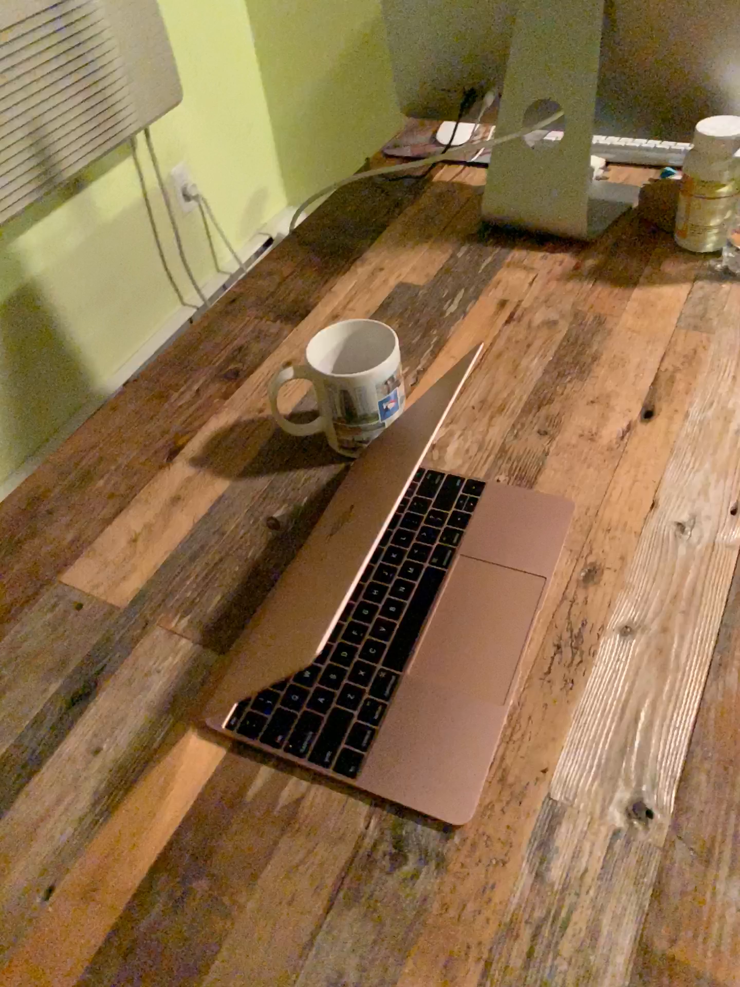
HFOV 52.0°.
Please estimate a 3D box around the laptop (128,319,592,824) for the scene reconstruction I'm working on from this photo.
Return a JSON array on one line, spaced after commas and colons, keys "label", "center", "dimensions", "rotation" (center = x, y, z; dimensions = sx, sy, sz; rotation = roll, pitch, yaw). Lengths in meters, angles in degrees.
[{"label": "laptop", "center": [0.018, 0.033, 0.530], "dimensions": [0.194, 0.145, 0.279], "rotation": [14, 51, 21]}]
